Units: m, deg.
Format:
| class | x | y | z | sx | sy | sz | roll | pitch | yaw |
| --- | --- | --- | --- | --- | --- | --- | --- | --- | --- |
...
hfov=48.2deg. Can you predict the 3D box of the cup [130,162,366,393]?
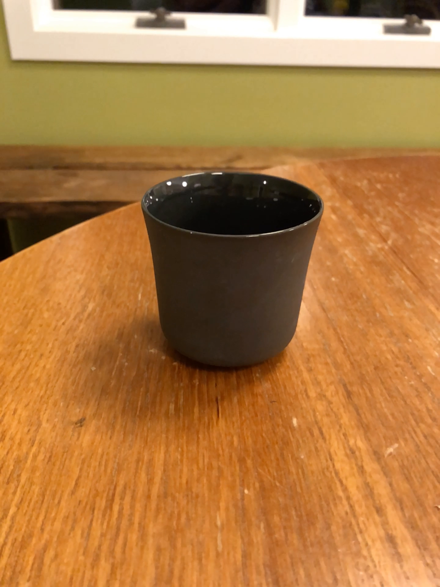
| class | x | y | z | sx | sy | sz | roll | pitch | yaw |
| --- | --- | --- | --- | --- | --- | --- | --- | --- | --- |
| cup | 0.005 | -0.012 | 0.220 | 0.079 | 0.068 | 0.075 | 1 | 30 | -1 |
